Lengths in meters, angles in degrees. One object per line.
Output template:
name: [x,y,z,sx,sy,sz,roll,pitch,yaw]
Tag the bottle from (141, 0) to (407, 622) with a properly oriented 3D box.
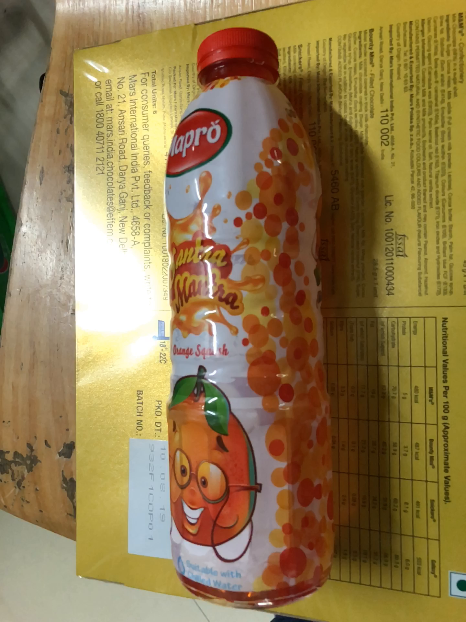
bottle: [0.018,-0.013,0.270,0.090,0.090,0.300,-1,92,60]
